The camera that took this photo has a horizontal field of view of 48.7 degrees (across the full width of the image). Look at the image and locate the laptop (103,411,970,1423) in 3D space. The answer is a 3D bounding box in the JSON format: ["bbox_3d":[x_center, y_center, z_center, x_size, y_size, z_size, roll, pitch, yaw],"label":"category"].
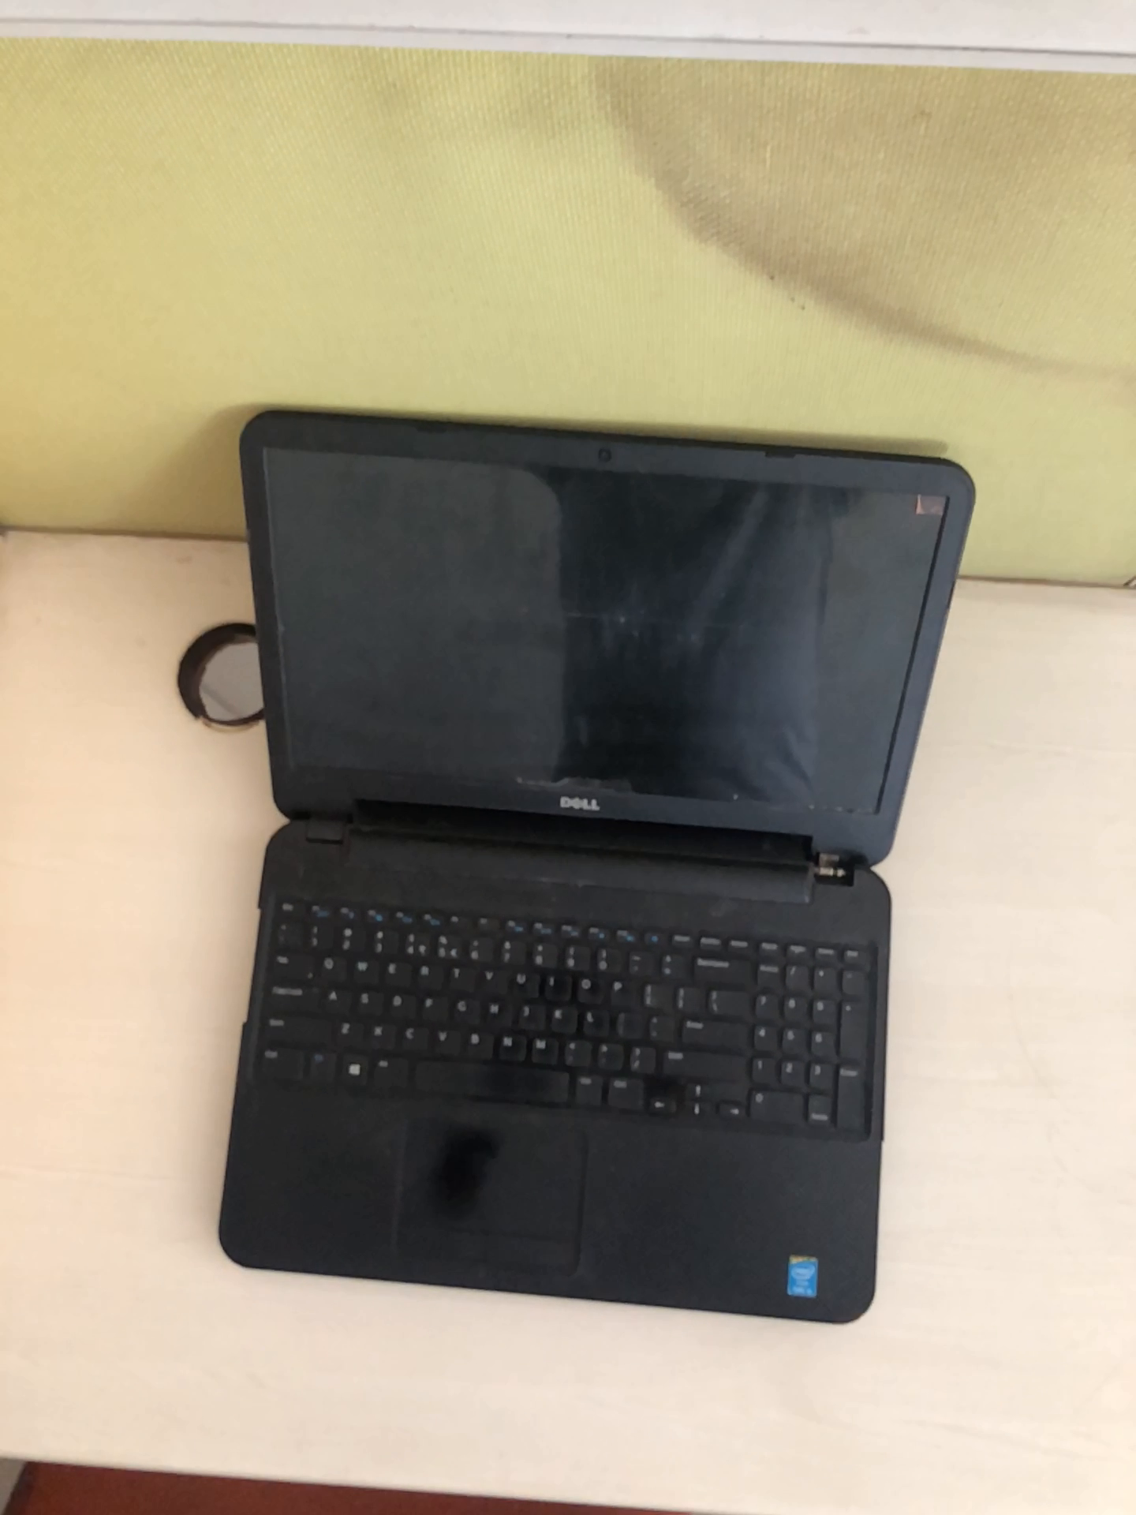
[{"bbox_3d":[-0.001,0.071,0.642,0.355,0.159,0.427,4,80,2],"label":"laptop"}]
